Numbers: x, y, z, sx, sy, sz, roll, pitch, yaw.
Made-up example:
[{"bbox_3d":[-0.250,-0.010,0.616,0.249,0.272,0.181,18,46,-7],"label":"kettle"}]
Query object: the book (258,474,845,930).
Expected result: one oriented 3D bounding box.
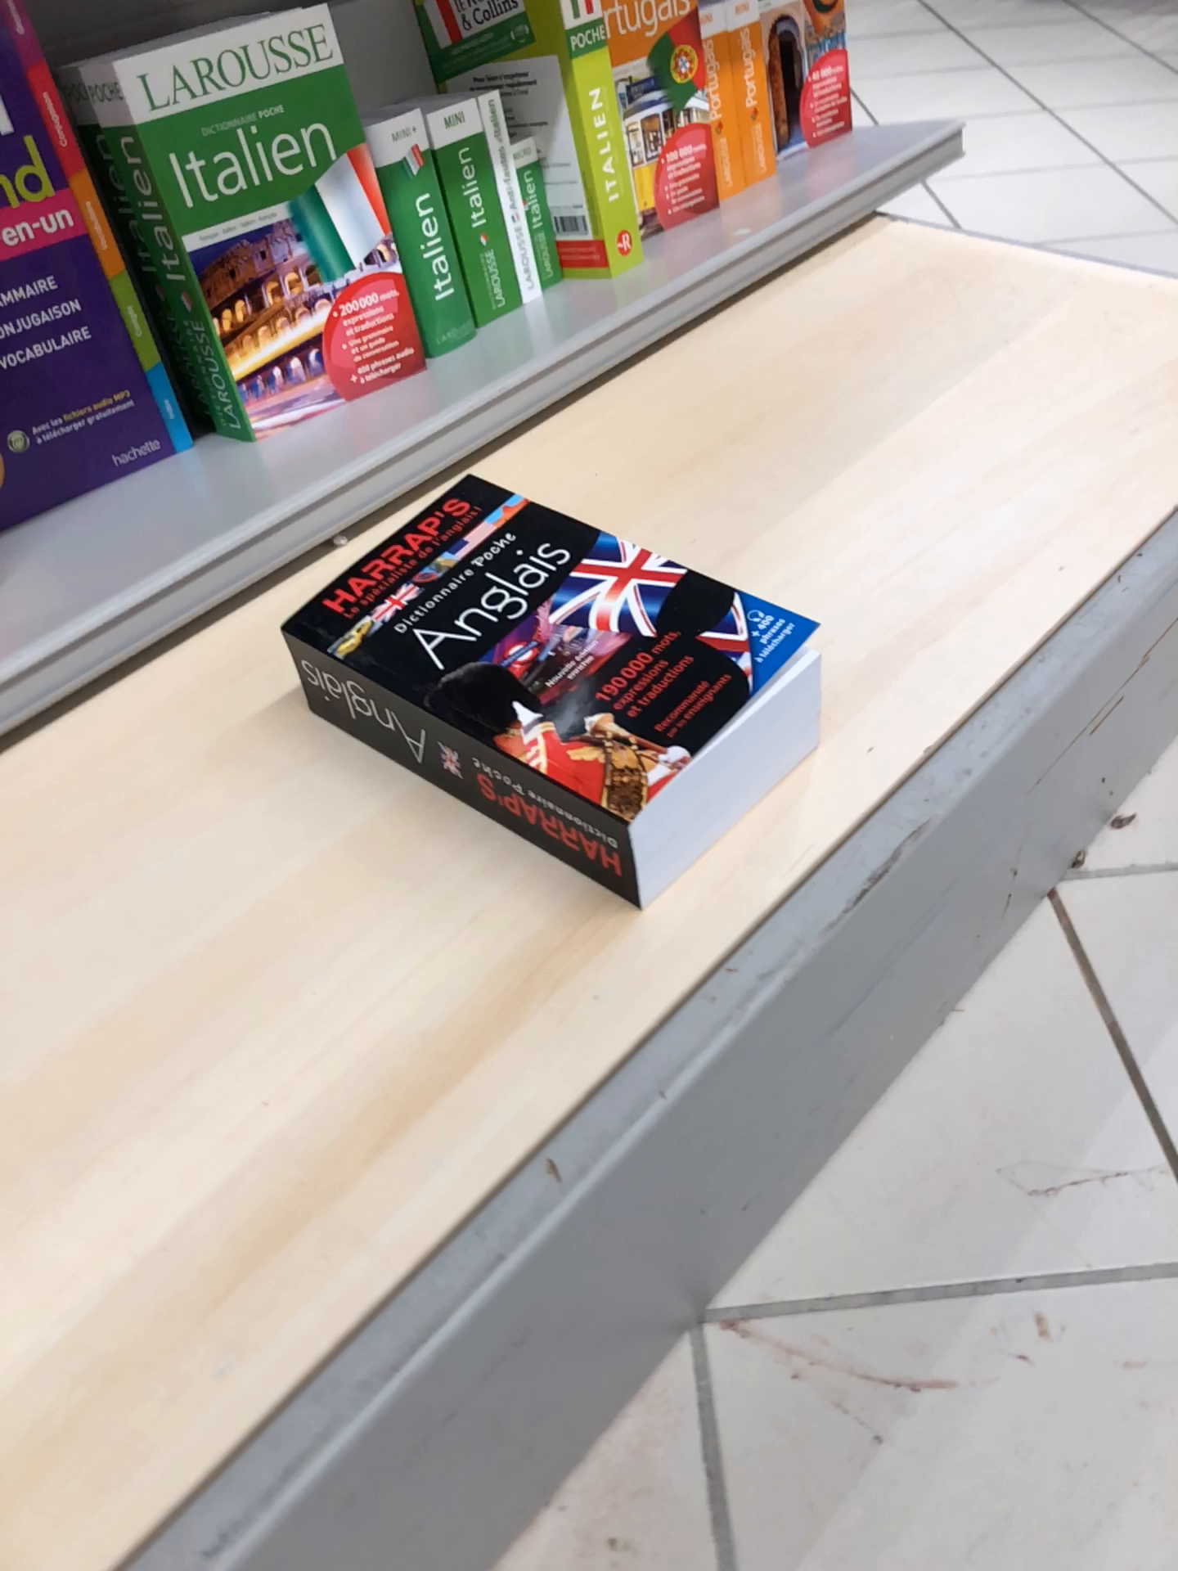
[{"bbox_3d":[-0.015,-0.042,0.485,0.182,0.057,0.116,28,52,31],"label":"book"}]
